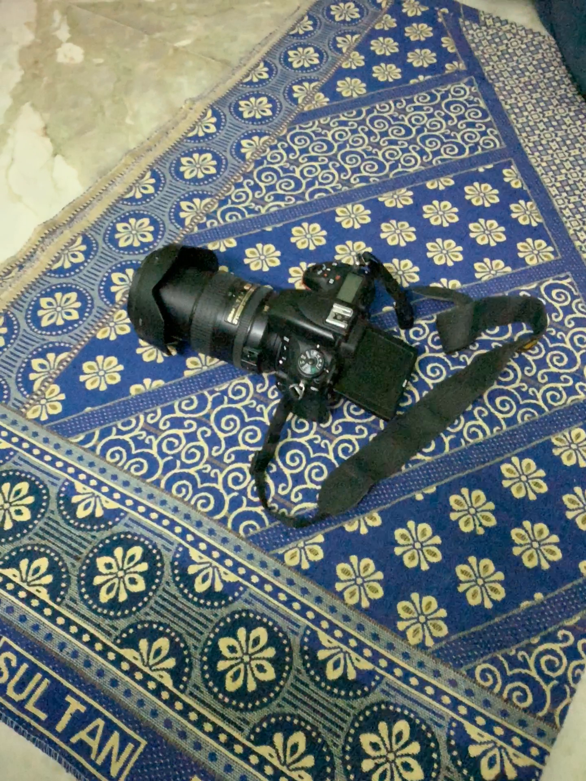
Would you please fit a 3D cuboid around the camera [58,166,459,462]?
[{"bbox_3d":[-0.029,-0.079,0.584,0.320,0.110,0.160,21,63,12],"label":"camera"}]
